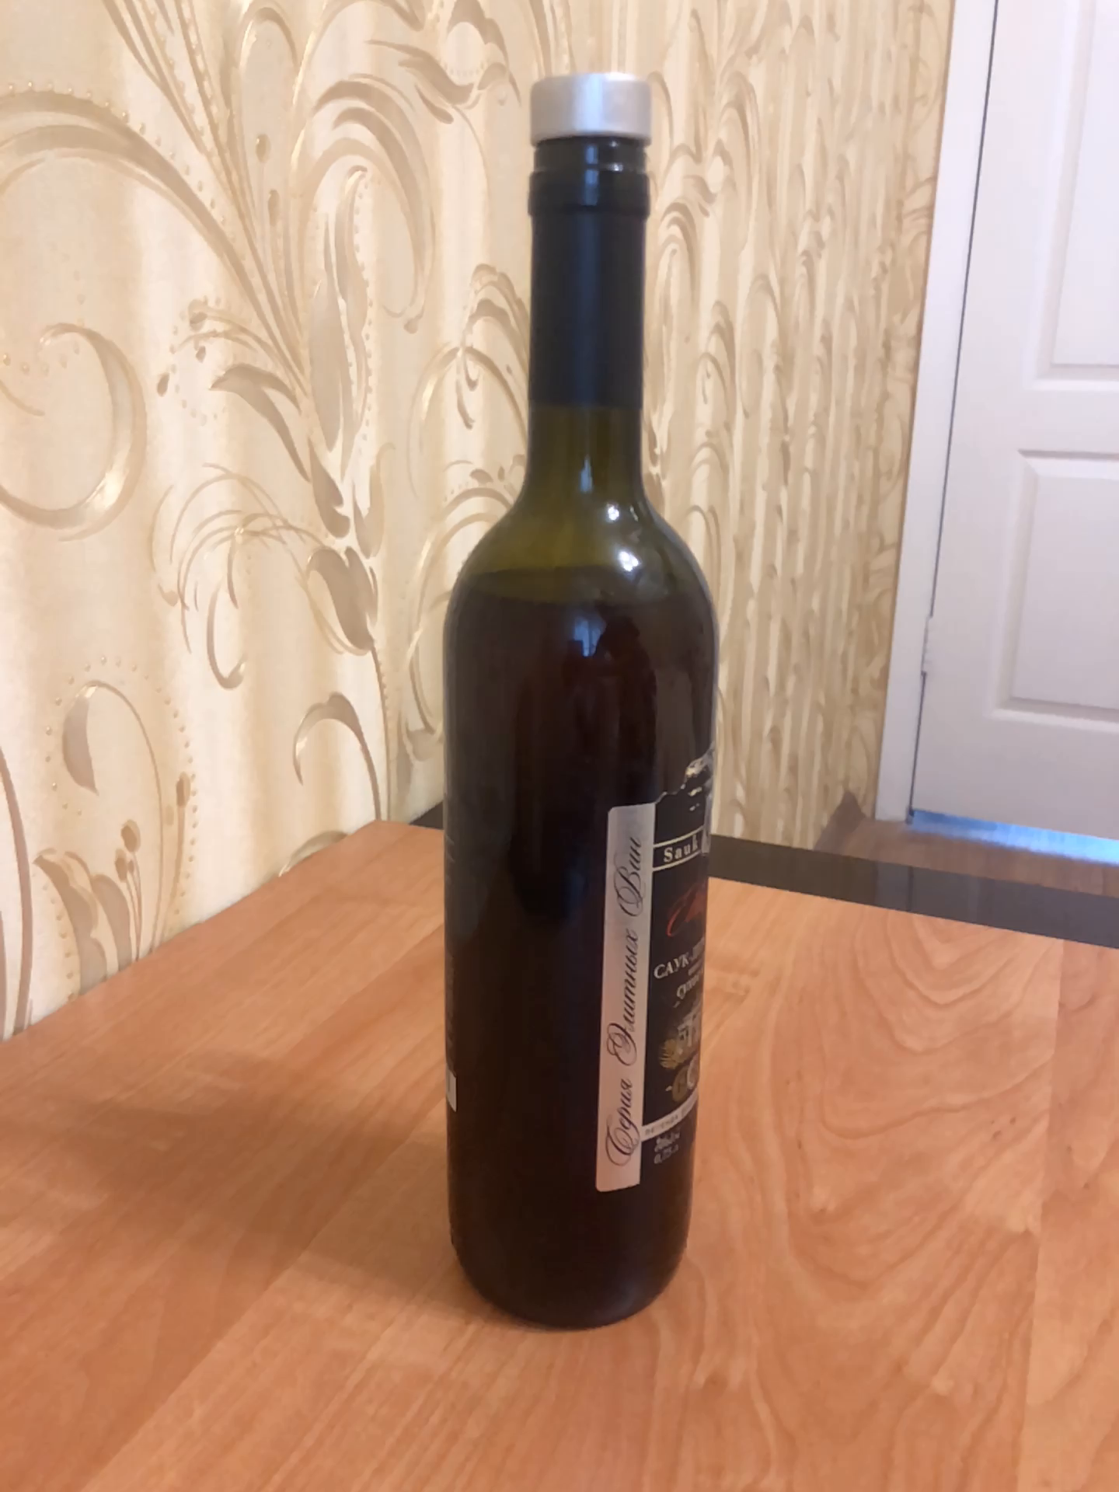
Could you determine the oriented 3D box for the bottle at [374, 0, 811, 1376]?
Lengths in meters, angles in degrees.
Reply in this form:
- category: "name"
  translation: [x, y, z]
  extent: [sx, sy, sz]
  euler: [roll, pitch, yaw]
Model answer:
- category: "bottle"
  translation: [0.009, -0.004, 0.331]
  extent: [0.073, 0.322, 0.084]
  euler: [9, 18, 24]
